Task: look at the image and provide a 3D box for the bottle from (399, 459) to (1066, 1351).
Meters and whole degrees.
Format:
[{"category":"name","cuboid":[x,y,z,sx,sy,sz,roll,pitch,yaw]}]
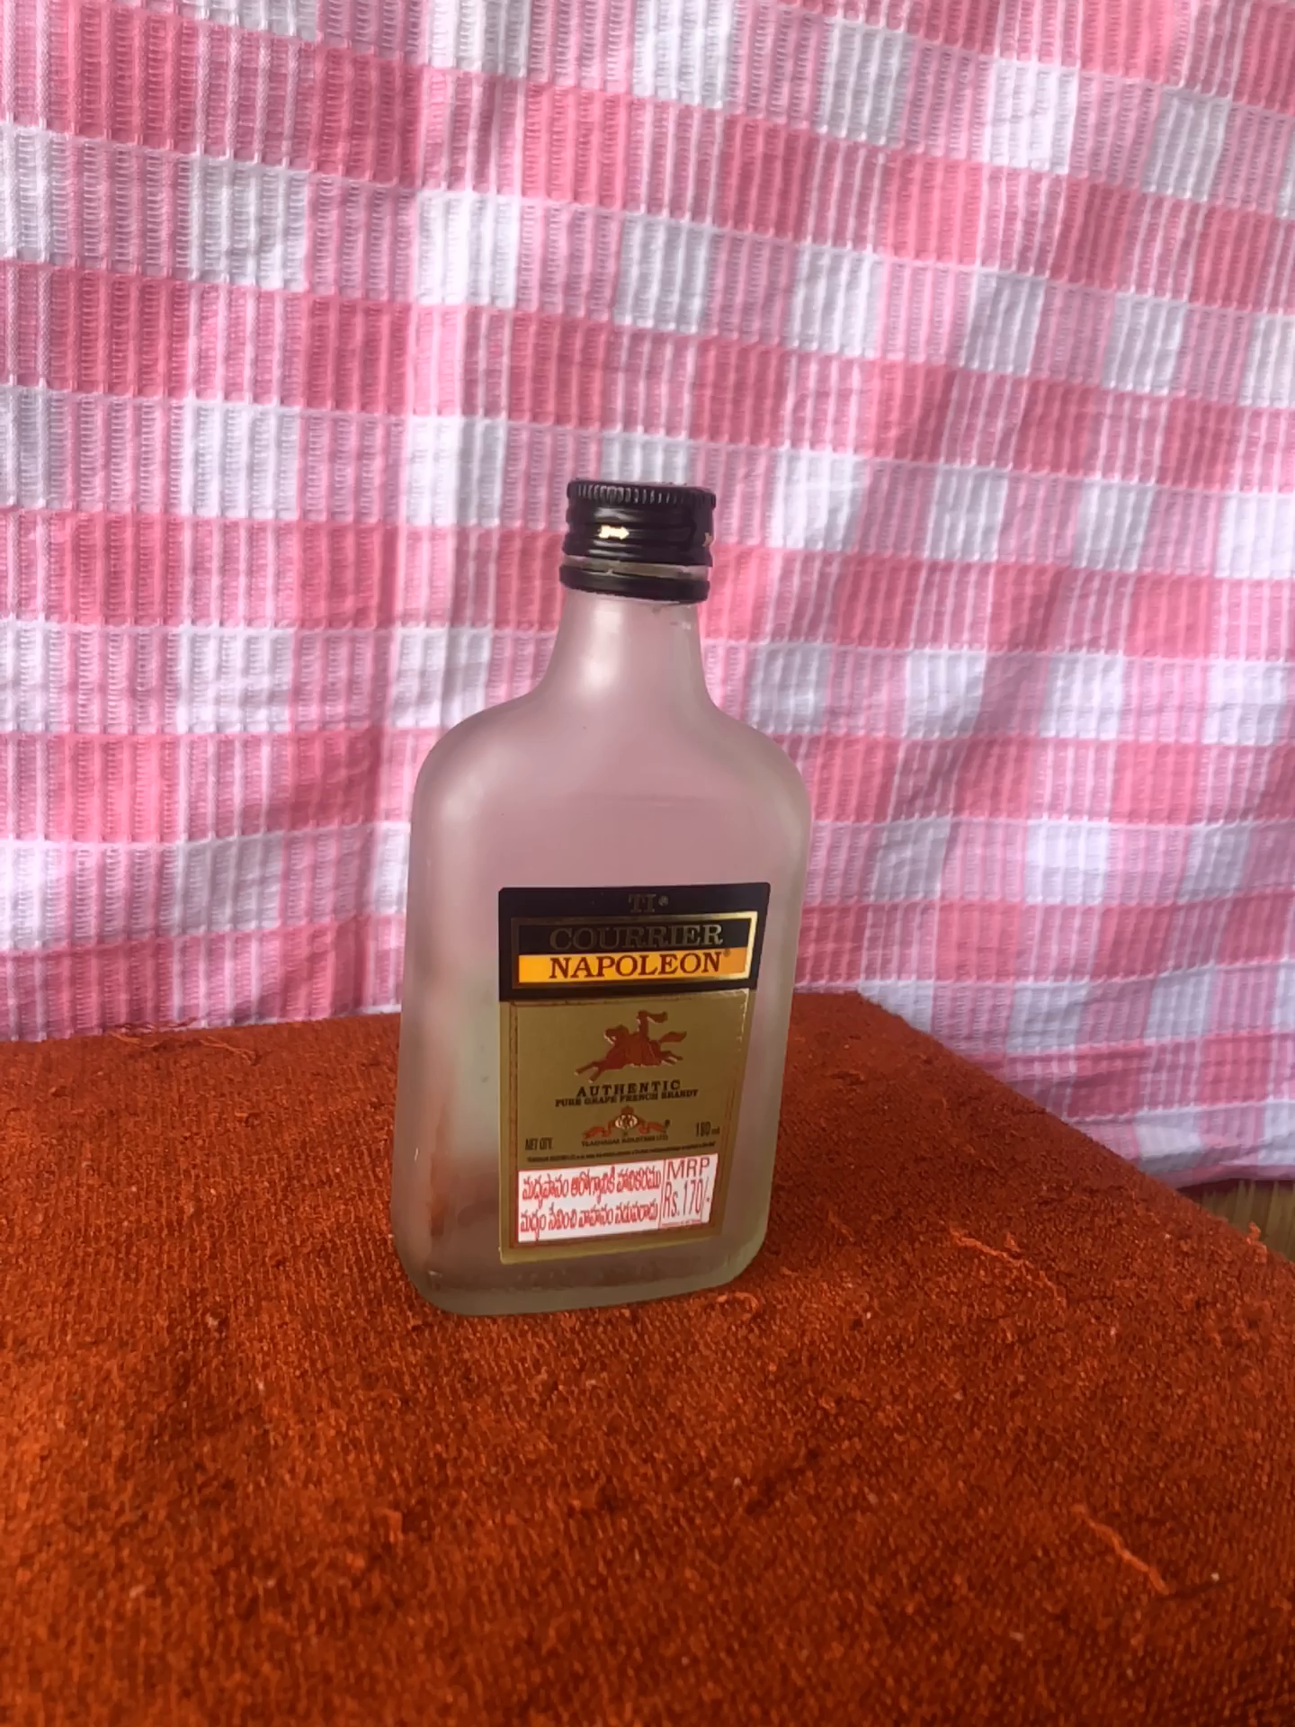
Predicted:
[{"category":"bottle","cuboid":[0.009,0.005,0.240,0.080,0.130,0.050,1,16,-23]}]
